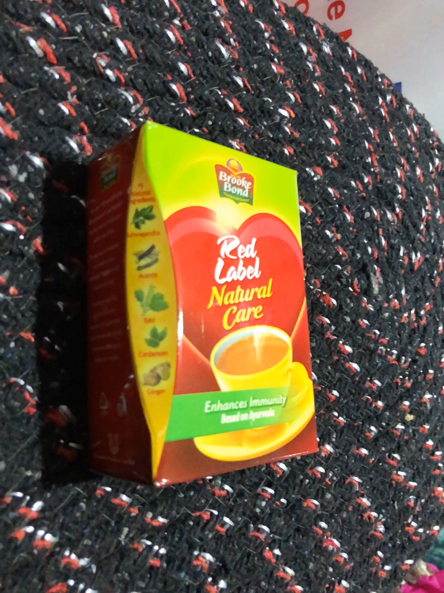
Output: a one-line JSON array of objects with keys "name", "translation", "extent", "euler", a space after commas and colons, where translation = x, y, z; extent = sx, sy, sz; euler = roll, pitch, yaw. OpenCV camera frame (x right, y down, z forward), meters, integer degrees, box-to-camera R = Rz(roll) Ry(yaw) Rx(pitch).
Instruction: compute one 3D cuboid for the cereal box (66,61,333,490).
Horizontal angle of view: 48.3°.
[{"name": "cereal box", "translation": [-0.006, -0.004, 0.168], "extent": [0.080, 0.040, 0.110], "euler": [5, 79, -44]}]
